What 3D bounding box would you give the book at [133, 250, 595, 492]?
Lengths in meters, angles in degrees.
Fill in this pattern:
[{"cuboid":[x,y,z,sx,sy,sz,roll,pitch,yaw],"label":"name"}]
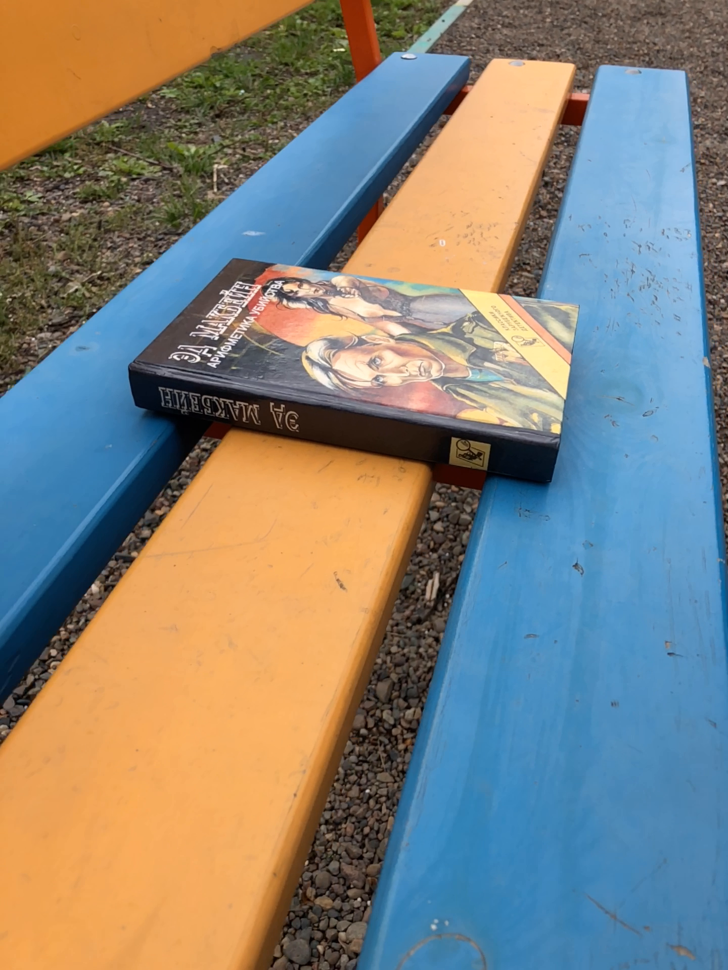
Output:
[{"cuboid":[0.009,-0.069,0.419,0.210,0.030,0.136,10,41,10],"label":"book"}]
